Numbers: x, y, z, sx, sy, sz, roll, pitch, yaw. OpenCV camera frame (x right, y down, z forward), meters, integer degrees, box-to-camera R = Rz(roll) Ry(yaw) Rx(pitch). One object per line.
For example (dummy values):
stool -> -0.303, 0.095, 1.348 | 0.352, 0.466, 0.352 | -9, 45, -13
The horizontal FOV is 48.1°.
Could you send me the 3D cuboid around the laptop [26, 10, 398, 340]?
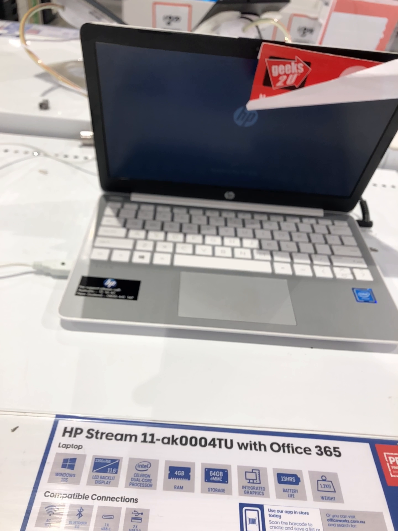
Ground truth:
laptop -> 0.040, -0.076, 0.360 | 0.273, 0.173, 0.184 | 4, 38, -4
